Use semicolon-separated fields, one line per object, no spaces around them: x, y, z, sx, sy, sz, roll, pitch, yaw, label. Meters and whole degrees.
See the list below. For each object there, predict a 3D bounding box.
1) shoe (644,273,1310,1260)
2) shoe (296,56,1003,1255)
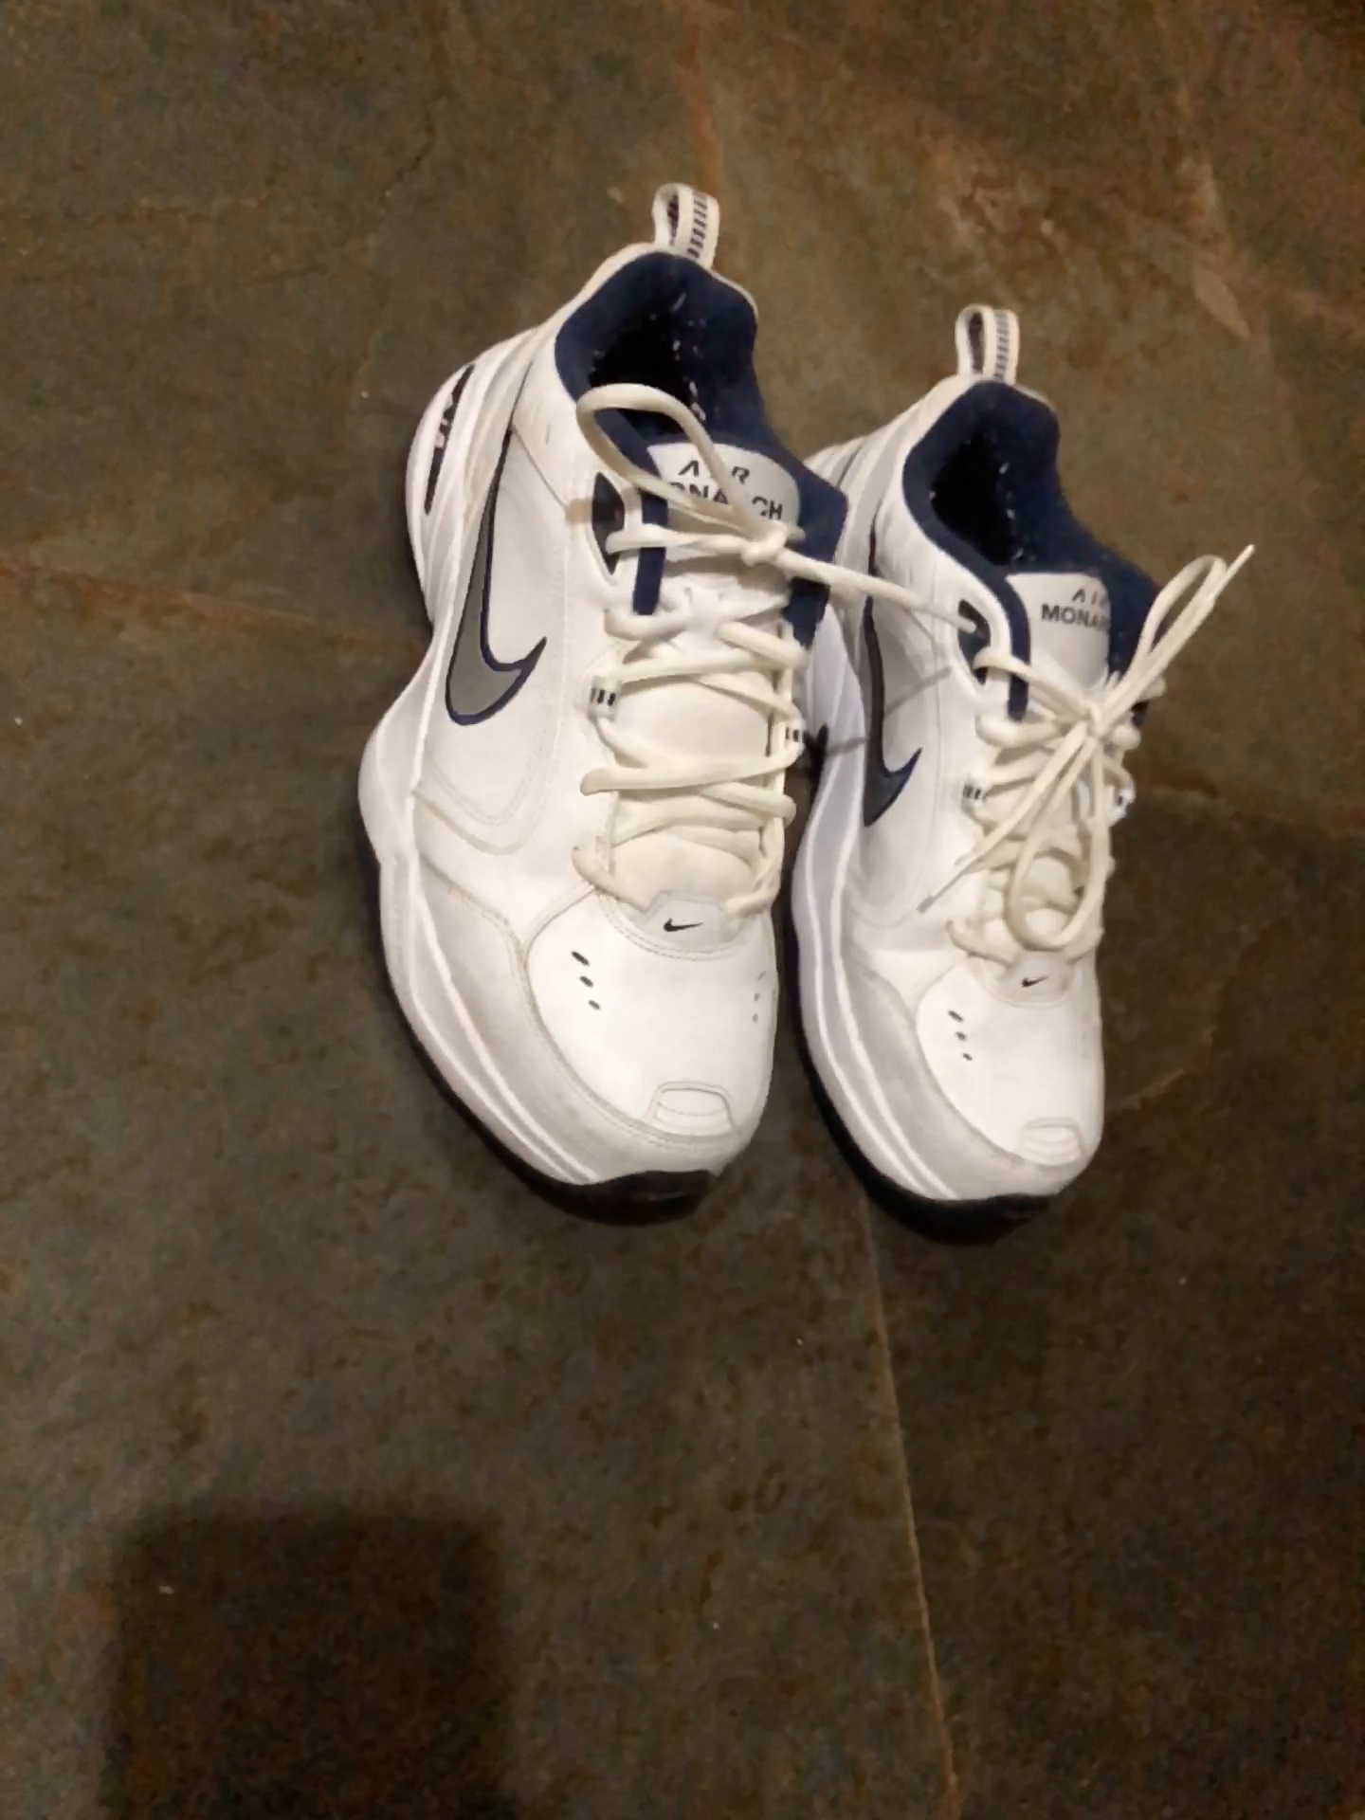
0.087;-0.040;0.539;0.121;0.149;0.301;8;65;-31;shoe
-0.028;-0.064;0.453;0.121;0.149;0.301;6;66;-32;shoe
